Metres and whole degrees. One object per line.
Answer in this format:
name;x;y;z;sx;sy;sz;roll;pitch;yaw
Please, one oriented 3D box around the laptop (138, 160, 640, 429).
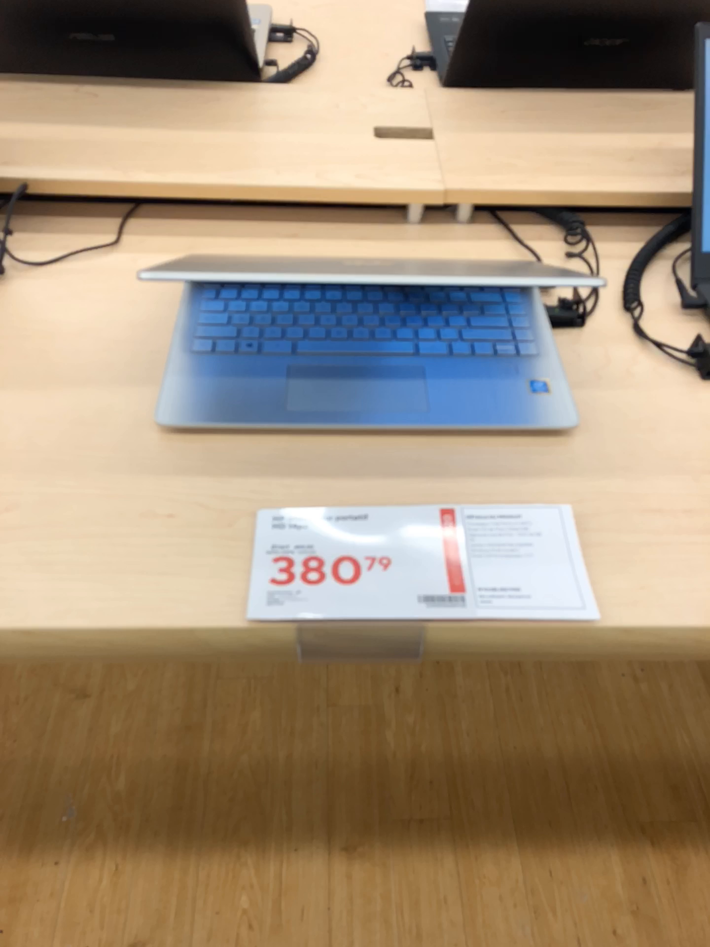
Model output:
laptop;0.009;-0.151;0.602;0.318;0.104;0.217;1;44;4
